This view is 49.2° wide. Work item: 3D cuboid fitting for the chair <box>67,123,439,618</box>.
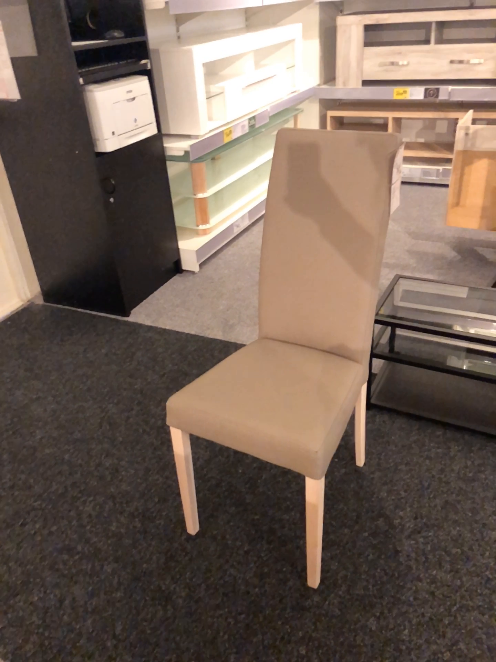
[{"bbox_3d":[0.080,0.047,1.356,0.530,0.945,0.634,13,35,27],"label":"chair"}]
